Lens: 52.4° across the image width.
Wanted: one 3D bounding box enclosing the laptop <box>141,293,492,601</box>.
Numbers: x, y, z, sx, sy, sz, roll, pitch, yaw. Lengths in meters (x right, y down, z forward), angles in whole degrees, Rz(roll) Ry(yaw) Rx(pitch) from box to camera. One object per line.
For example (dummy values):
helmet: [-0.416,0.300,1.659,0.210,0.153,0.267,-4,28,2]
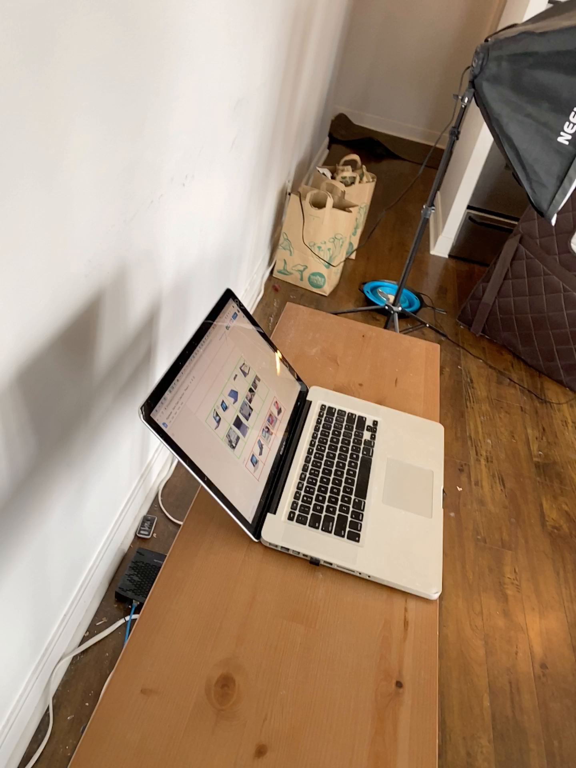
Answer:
laptop: [0.057,0.067,0.896,0.435,0.155,0.361,16,37,4]
